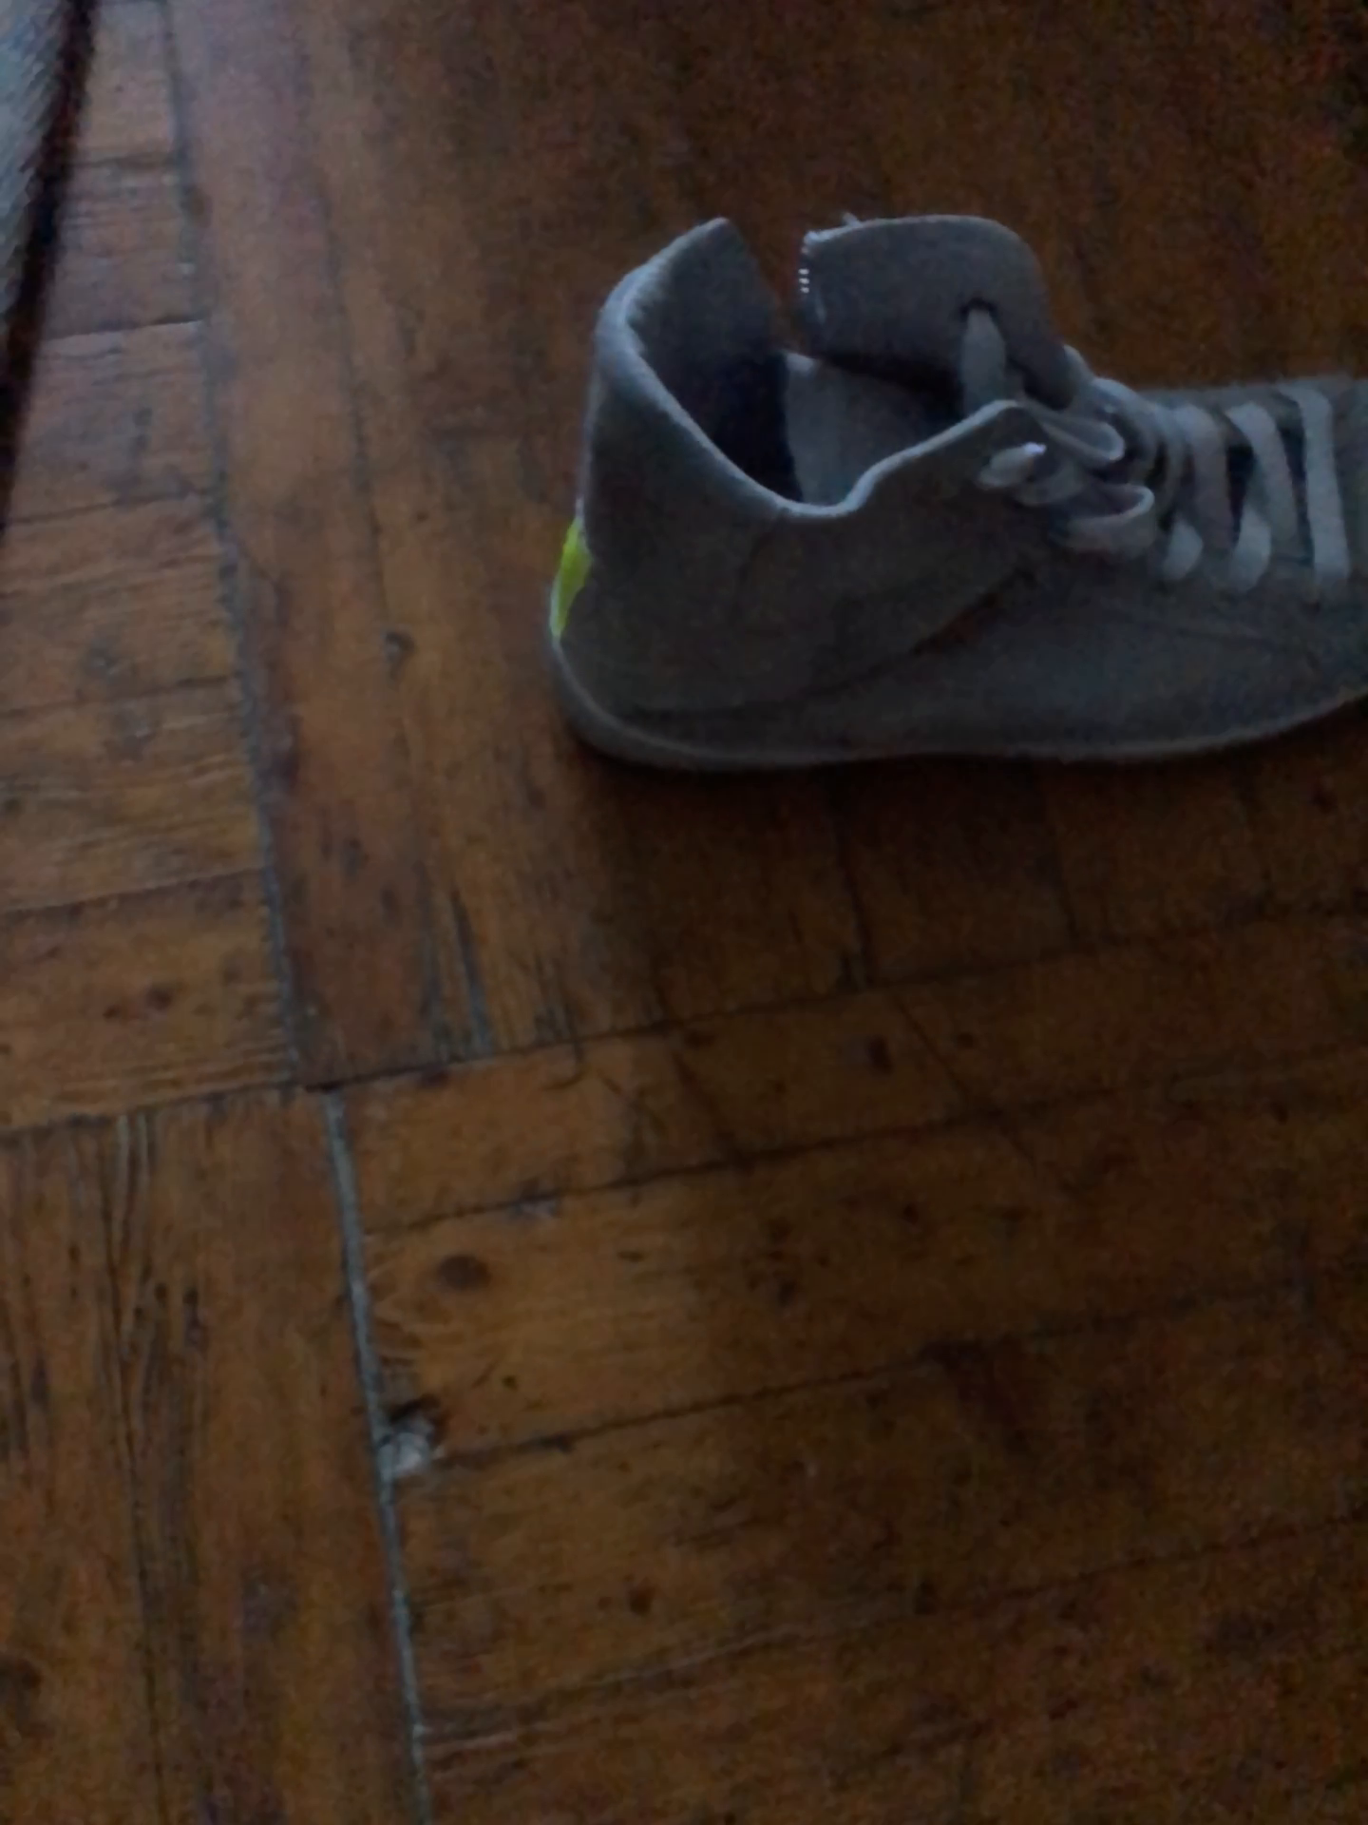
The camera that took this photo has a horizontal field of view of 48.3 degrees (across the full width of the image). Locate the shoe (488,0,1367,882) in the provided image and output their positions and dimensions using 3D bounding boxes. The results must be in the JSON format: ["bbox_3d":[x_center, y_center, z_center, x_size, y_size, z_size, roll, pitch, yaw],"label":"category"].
[{"bbox_3d":[0.114,-0.106,0.414,0.310,0.220,0.130,-5,81,-5],"label":"shoe"}]
